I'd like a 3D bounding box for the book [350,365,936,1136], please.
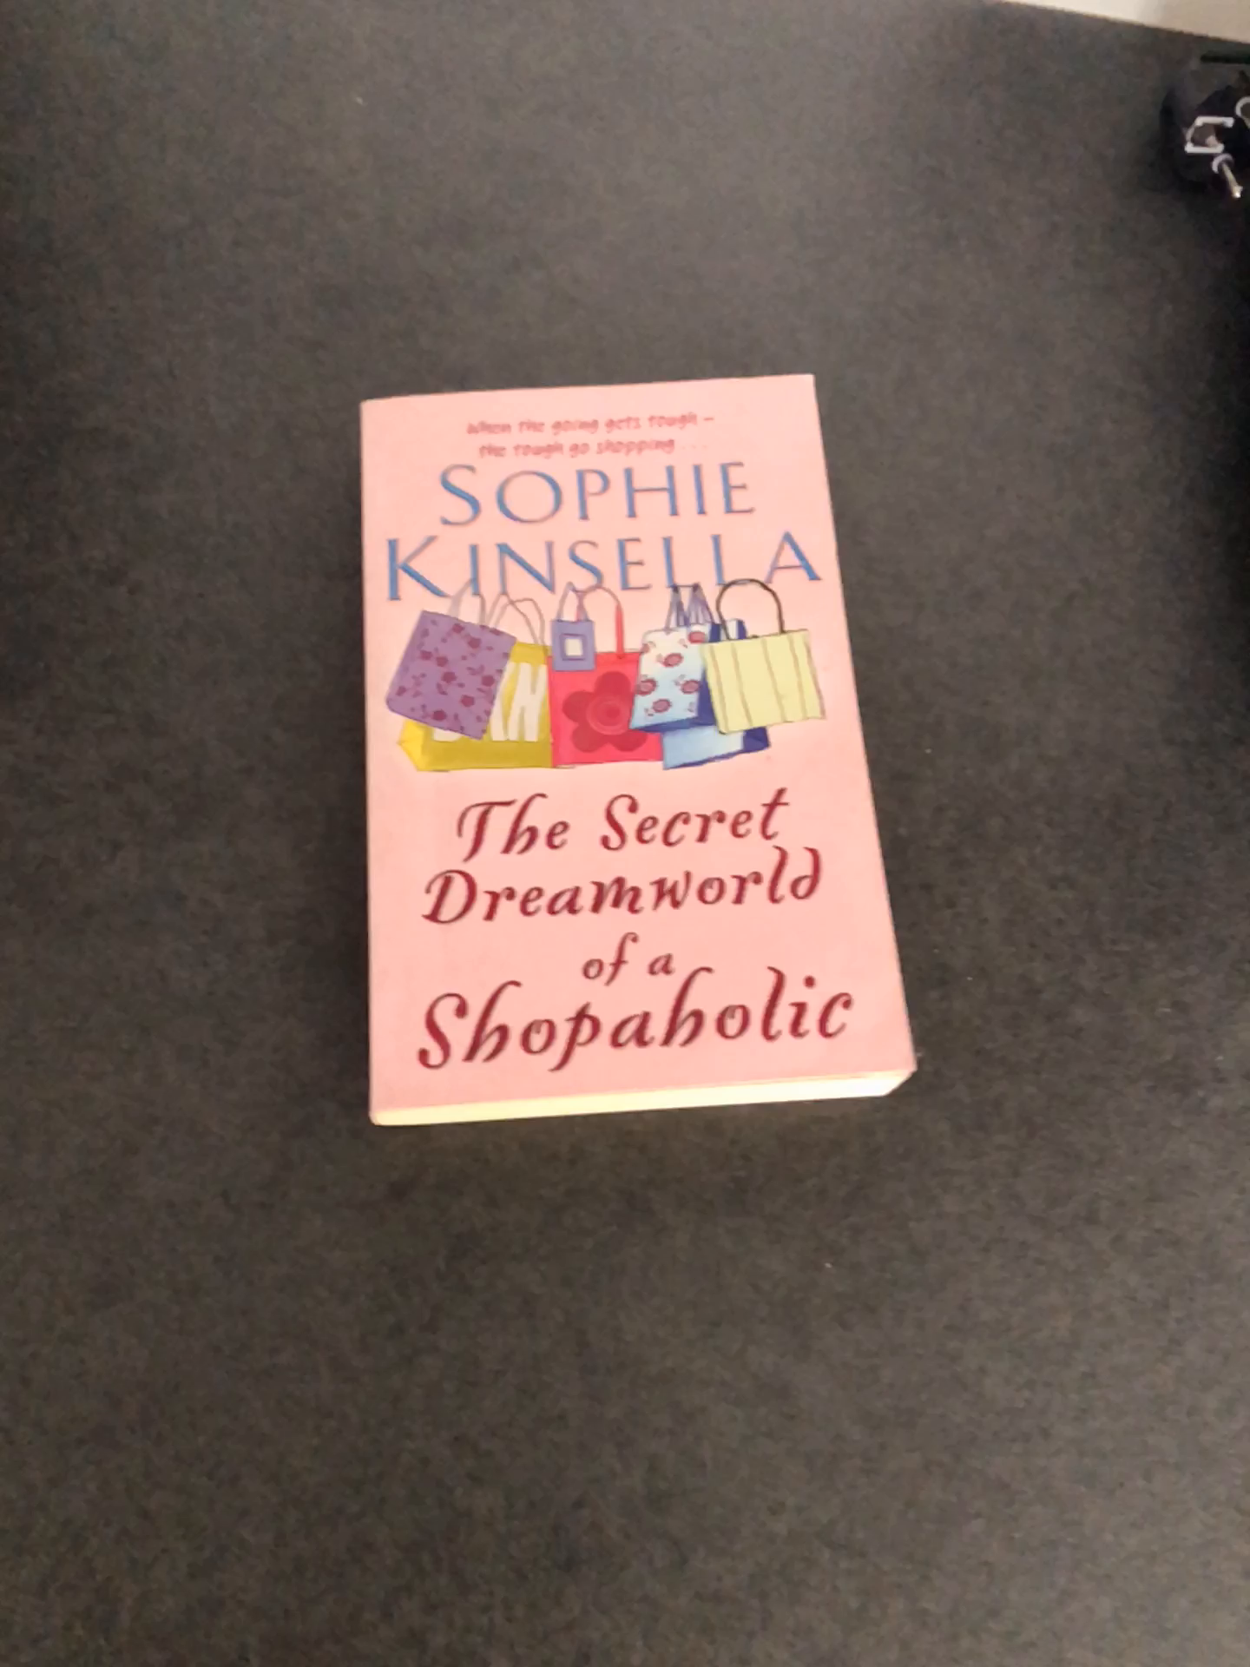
[{"bbox_3d":[-0.002,-0.029,0.361,0.130,0.030,0.200,-3,70,-6],"label":"book"}]
